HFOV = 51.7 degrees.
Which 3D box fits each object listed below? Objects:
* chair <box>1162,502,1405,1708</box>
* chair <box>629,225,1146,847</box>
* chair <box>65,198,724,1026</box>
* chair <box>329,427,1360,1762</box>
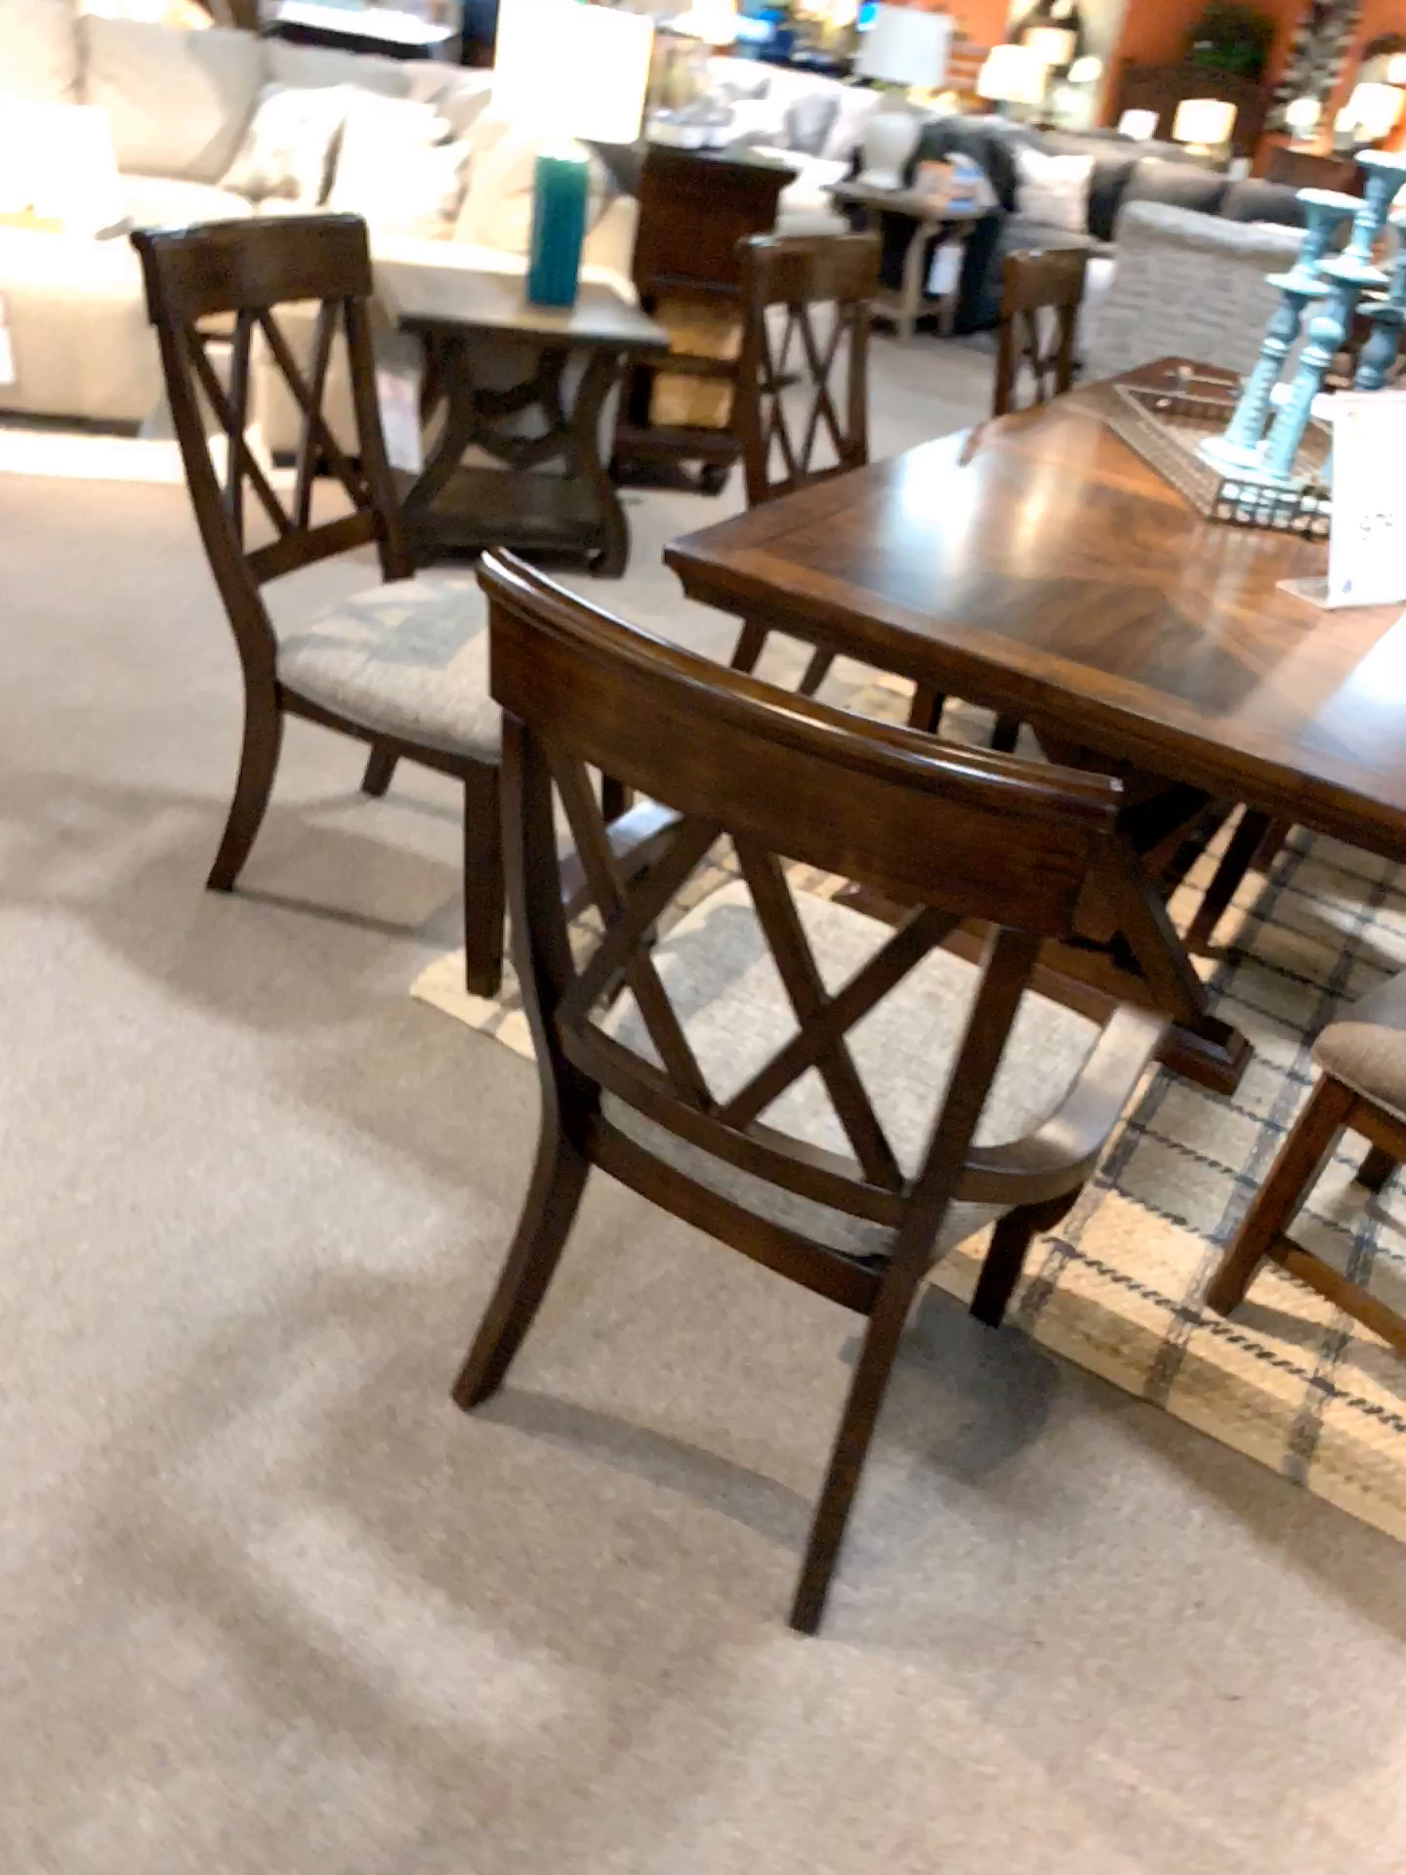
[{"bbox_3d":[1.032,0.139,1.512,0.507,0.936,0.645,-23,45,-40],"label":"chair"},{"bbox_3d":[0.313,-0.769,2.737,0.645,0.916,0.467,26,36,23],"label":"chair"},{"bbox_3d":[-0.436,-0.481,2.079,0.644,0.916,0.508,21,33,16],"label":"chair"},{"bbox_3d":[0.096,0.094,1.354,0.546,0.896,0.657,26,36,23],"label":"chair"}]
